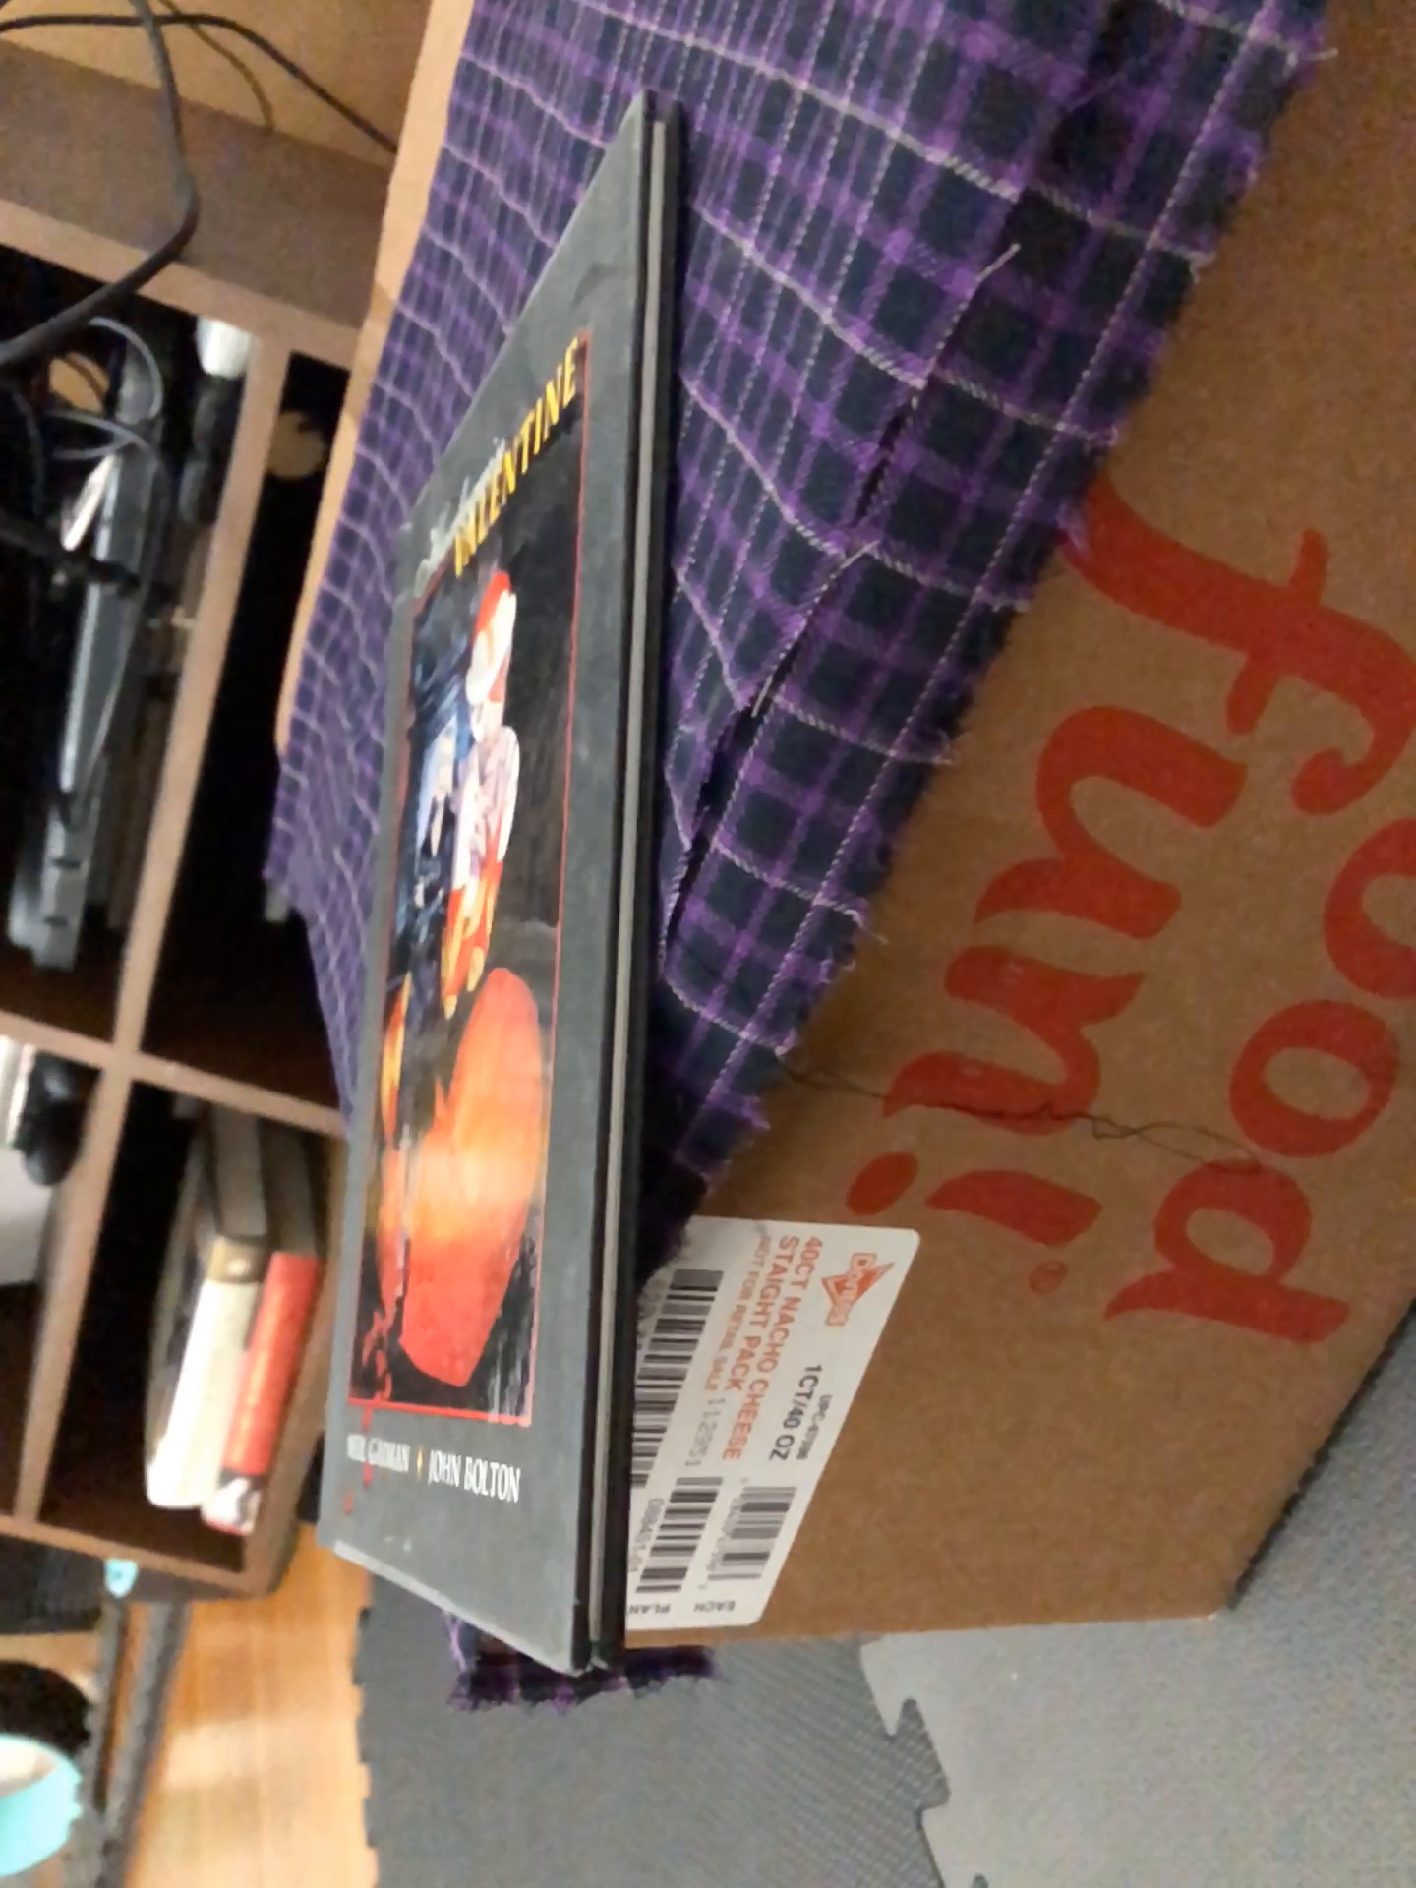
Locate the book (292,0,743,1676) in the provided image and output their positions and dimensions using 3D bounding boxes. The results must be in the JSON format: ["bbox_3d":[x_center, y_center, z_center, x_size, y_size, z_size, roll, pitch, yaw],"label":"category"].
[{"bbox_3d":[-0.044,-0.018,0.323,0.181,0.020,0.280,150,125,-61],"label":"book"}]
